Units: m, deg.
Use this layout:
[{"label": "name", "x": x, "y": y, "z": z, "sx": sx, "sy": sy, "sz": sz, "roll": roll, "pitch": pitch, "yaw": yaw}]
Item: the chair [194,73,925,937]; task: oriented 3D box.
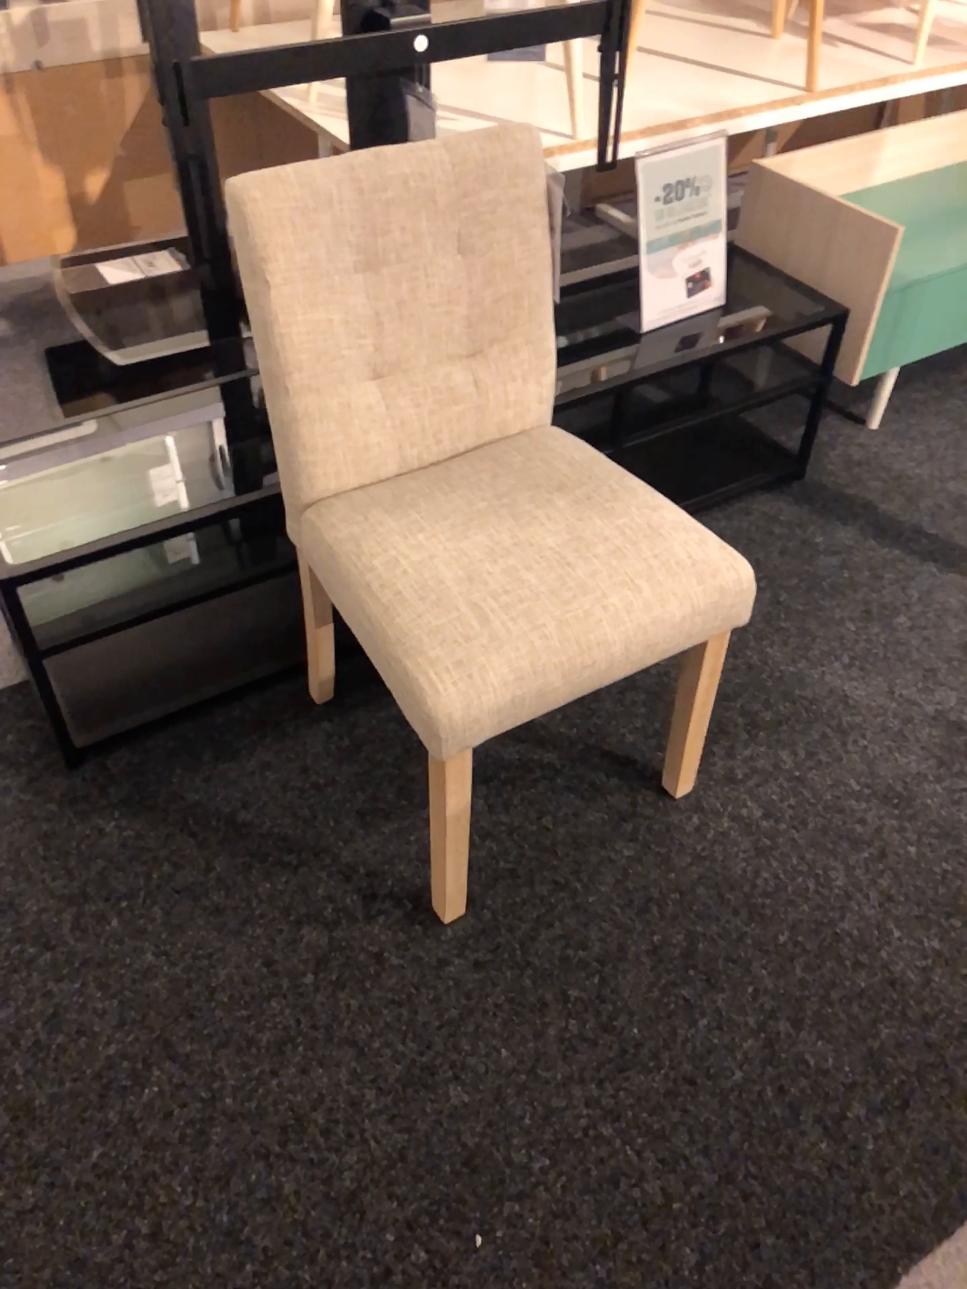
[{"label": "chair", "x": 0.048, "y": -0.182, "z": 1.411, "sx": 0.552, "sy": 0.855, "sz": 0.561, "roll": -22, "pitch": 49, "yaw": -24}]
